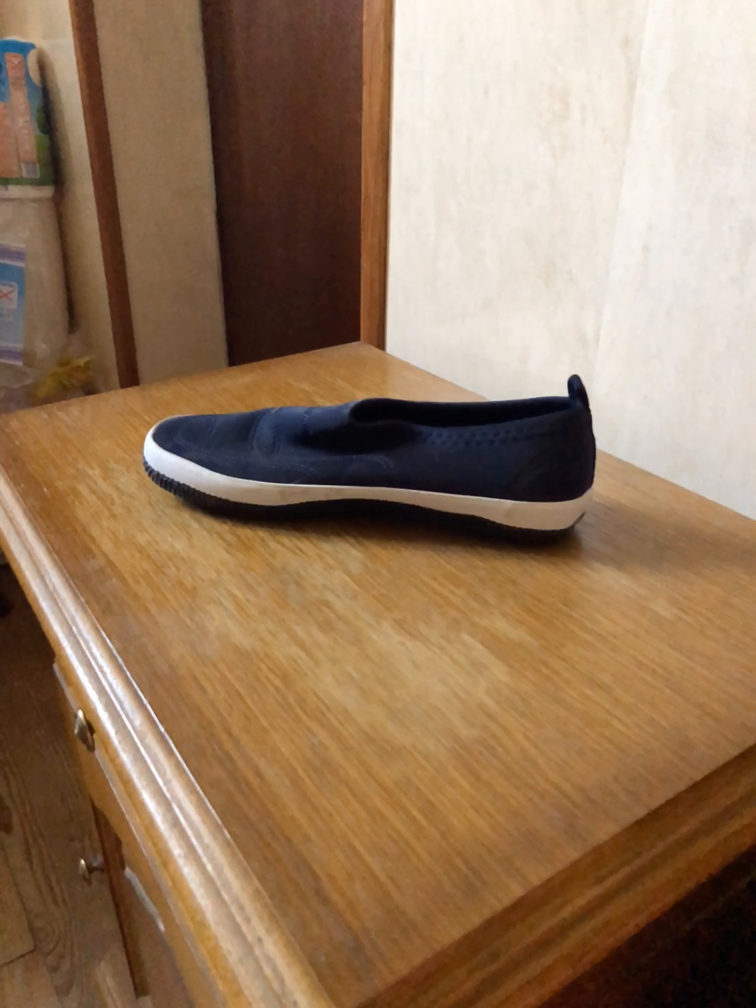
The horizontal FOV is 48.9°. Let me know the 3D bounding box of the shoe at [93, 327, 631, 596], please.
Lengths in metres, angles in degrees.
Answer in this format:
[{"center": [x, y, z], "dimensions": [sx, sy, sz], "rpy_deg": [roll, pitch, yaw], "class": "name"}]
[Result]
[{"center": [-0.004, -0.032, 0.447], "dimensions": [0.260, 0.080, 0.101], "rpy_deg": [8, 29, 13], "class": "shoe"}]
